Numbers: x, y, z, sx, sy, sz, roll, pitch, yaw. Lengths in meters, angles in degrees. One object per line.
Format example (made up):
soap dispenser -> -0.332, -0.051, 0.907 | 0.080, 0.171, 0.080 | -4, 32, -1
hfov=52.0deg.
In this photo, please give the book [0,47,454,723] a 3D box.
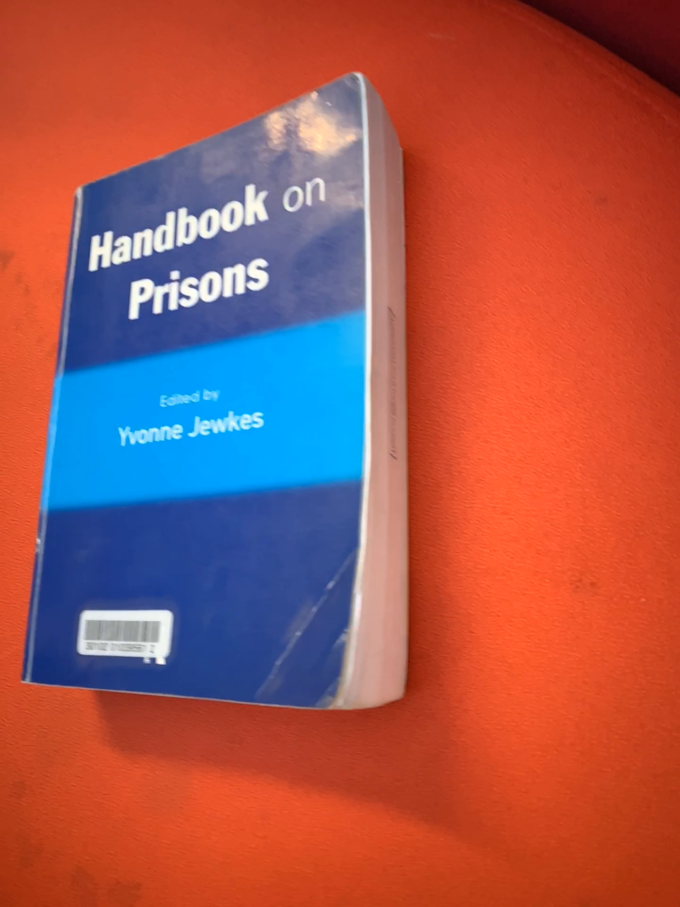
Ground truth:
book -> -0.054, -0.026, 0.331 | 0.201, 0.060, 0.271 | -7, 71, 27
